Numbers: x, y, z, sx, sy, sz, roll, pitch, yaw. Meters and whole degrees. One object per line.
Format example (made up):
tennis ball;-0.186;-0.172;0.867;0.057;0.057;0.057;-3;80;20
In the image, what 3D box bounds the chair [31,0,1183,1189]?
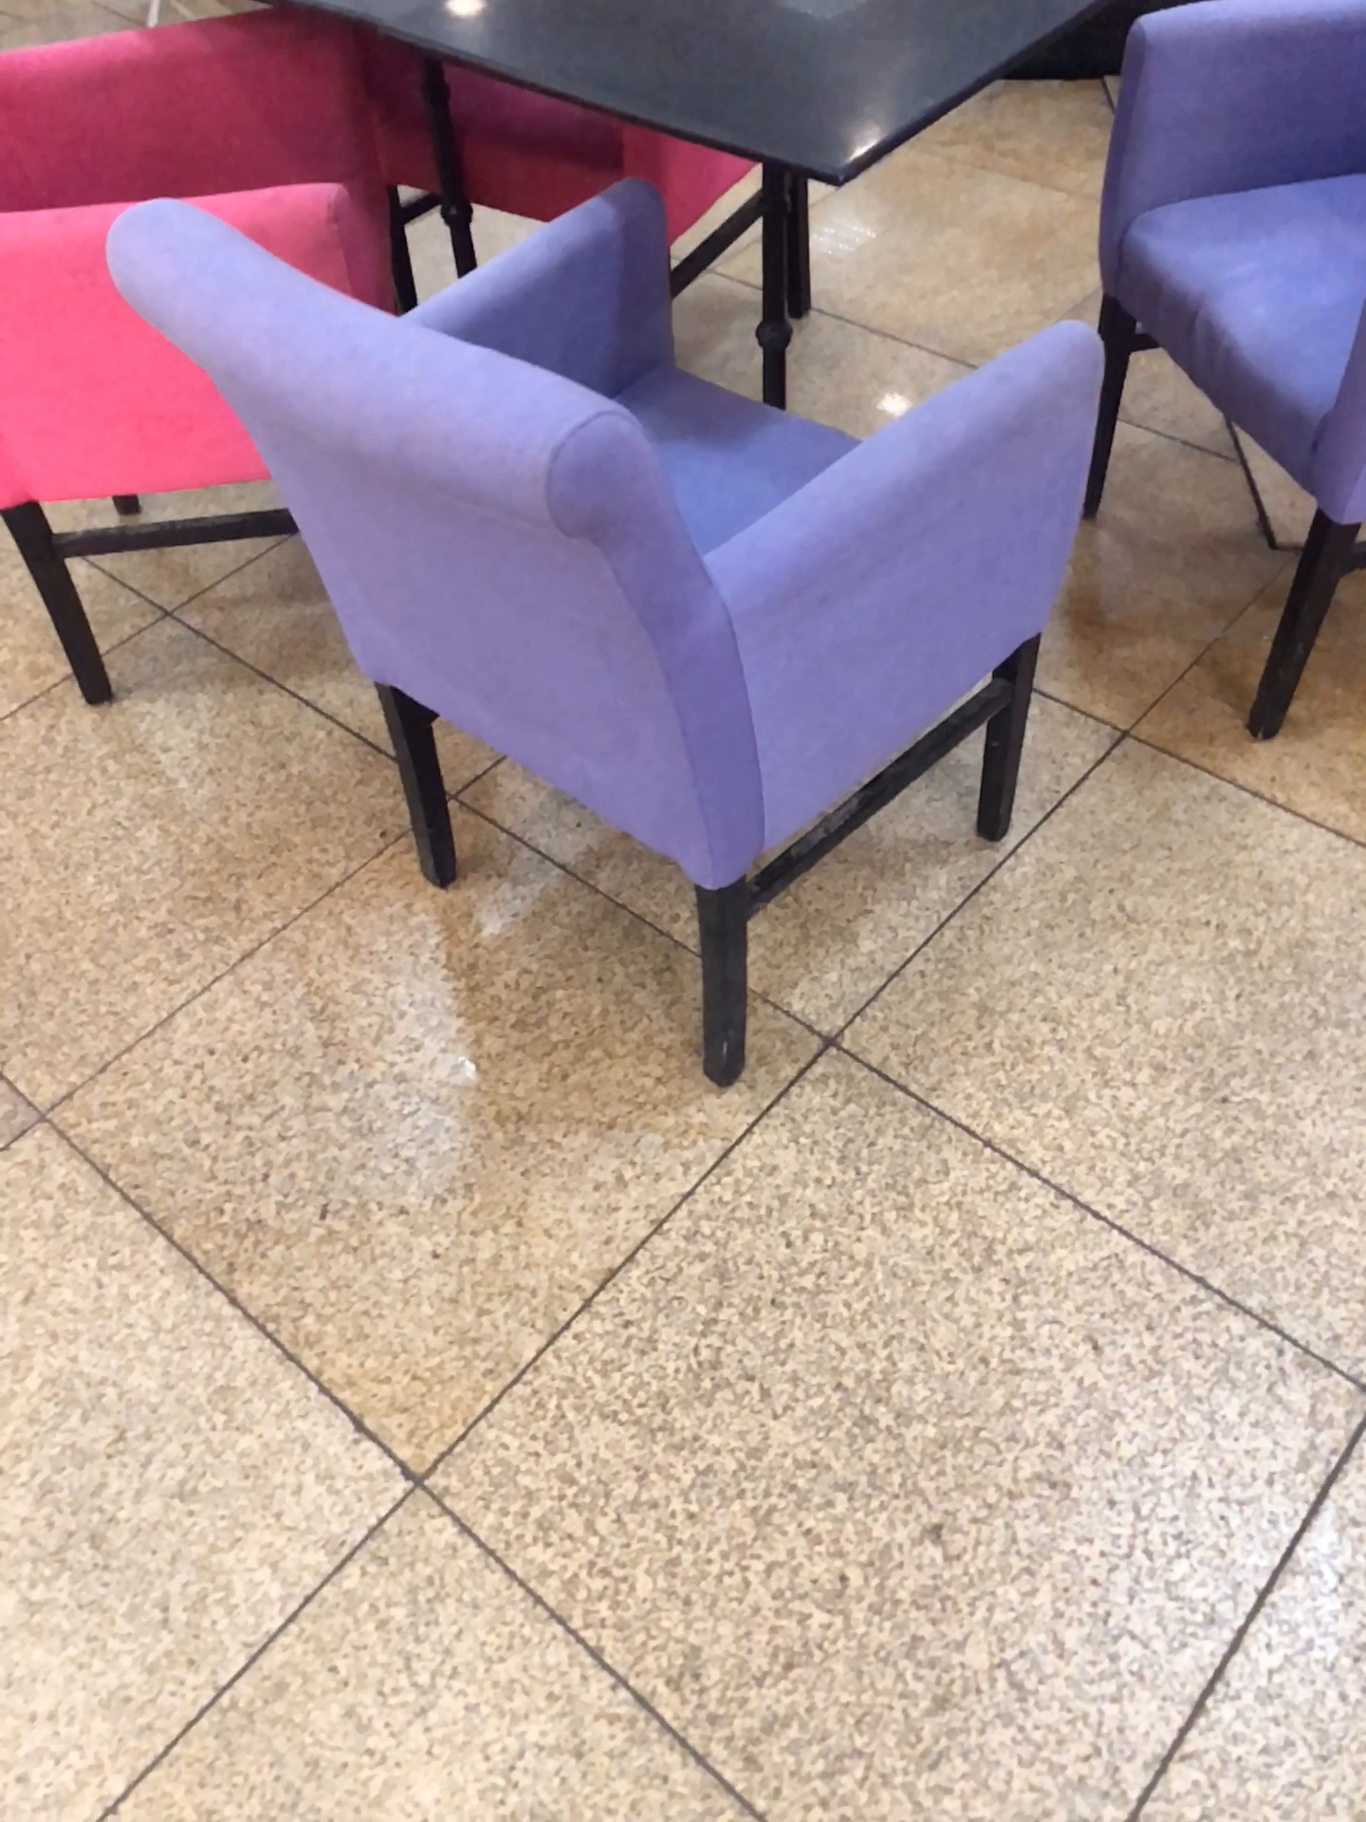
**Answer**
chair;-0.030;-0.320;1.406;0.591;0.817;0.611;32;59;28
